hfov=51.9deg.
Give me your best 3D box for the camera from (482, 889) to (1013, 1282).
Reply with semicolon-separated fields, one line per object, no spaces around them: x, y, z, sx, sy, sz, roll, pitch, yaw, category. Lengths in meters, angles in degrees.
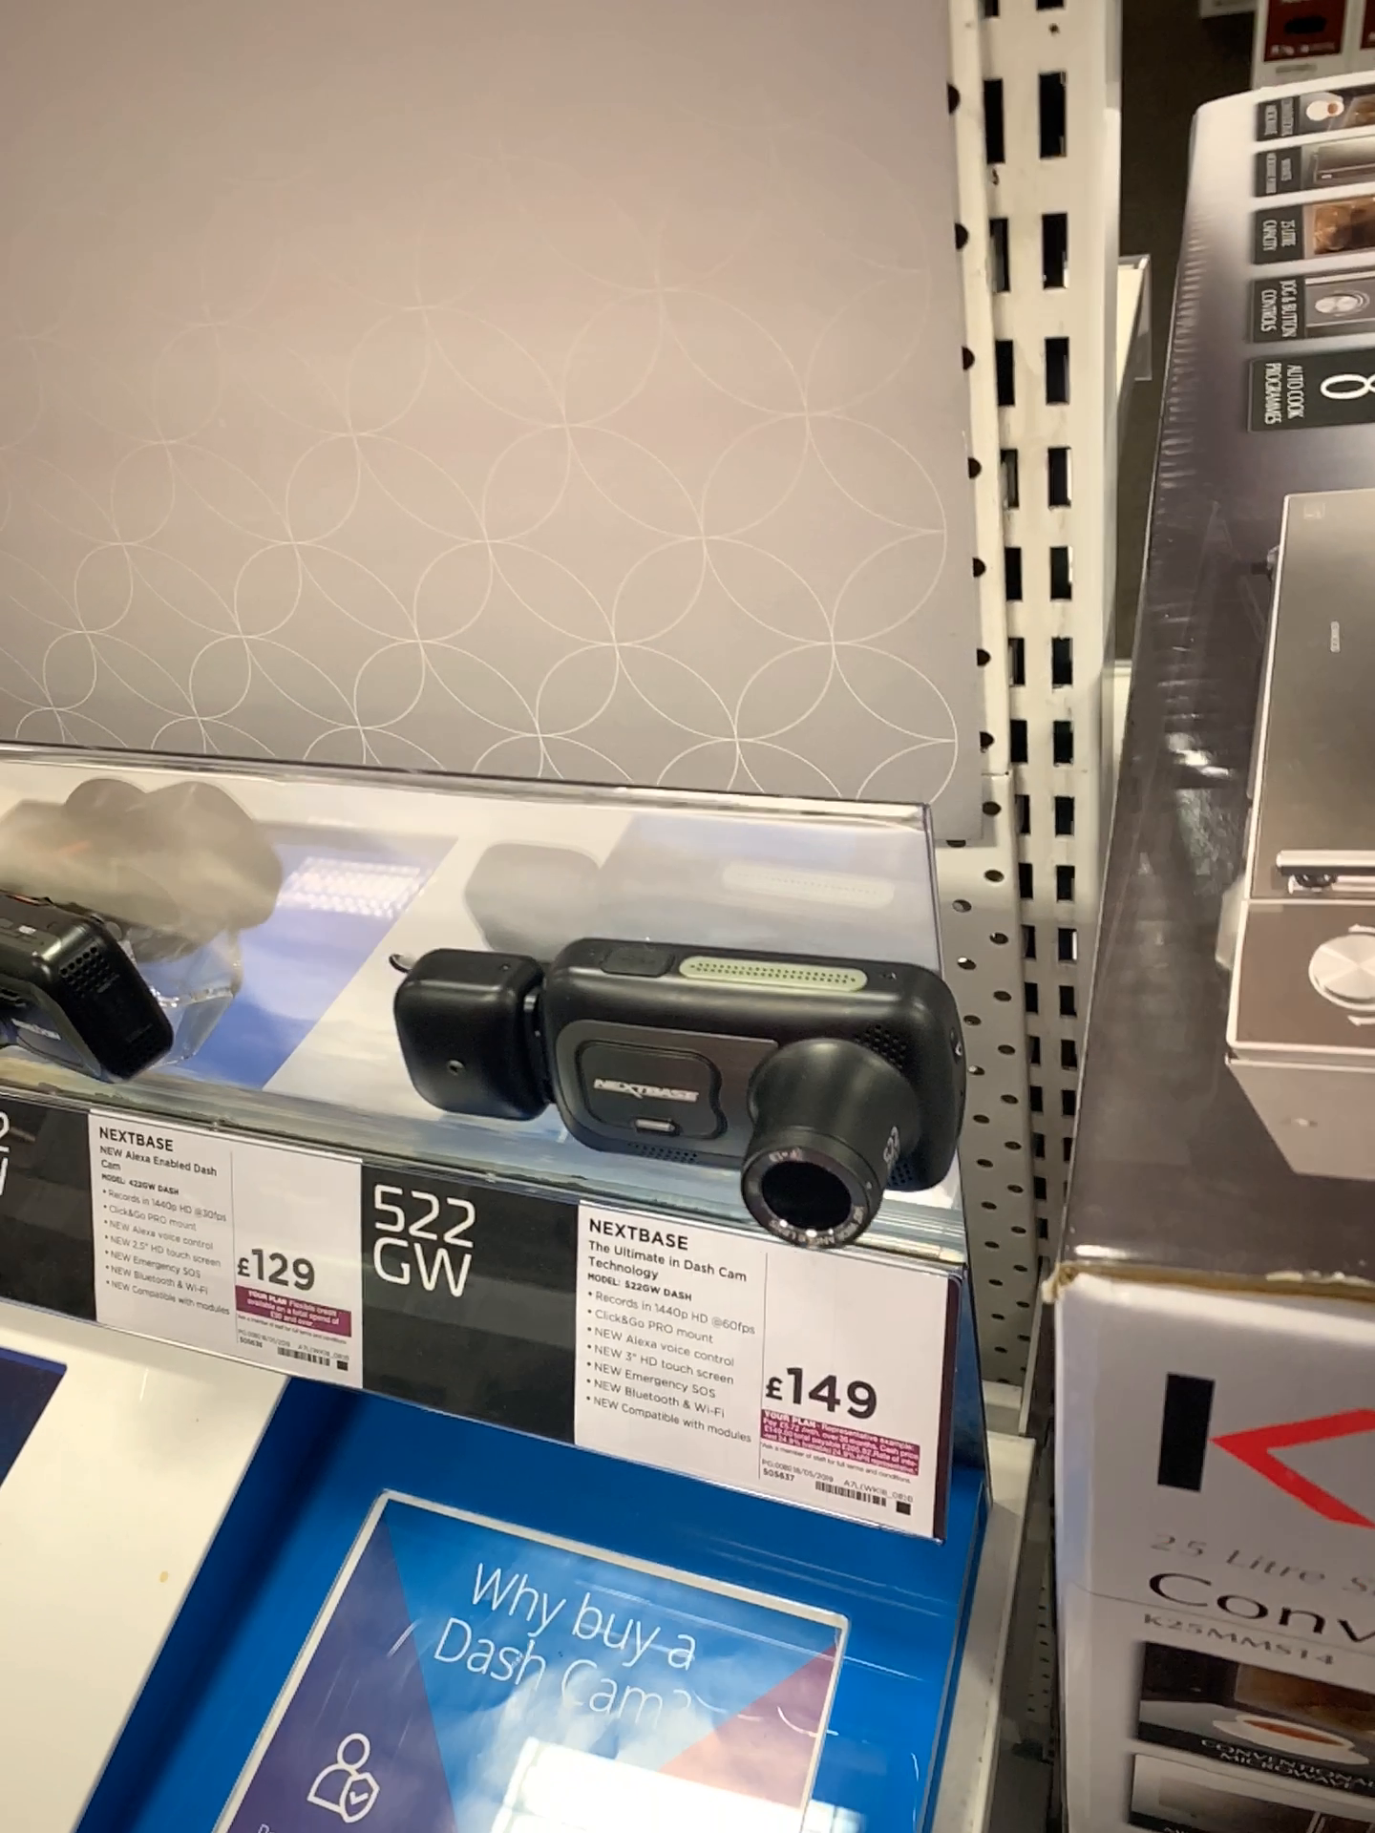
0.017;0.034;0.313;0.100;0.050;0.060;3;40;19;camera
